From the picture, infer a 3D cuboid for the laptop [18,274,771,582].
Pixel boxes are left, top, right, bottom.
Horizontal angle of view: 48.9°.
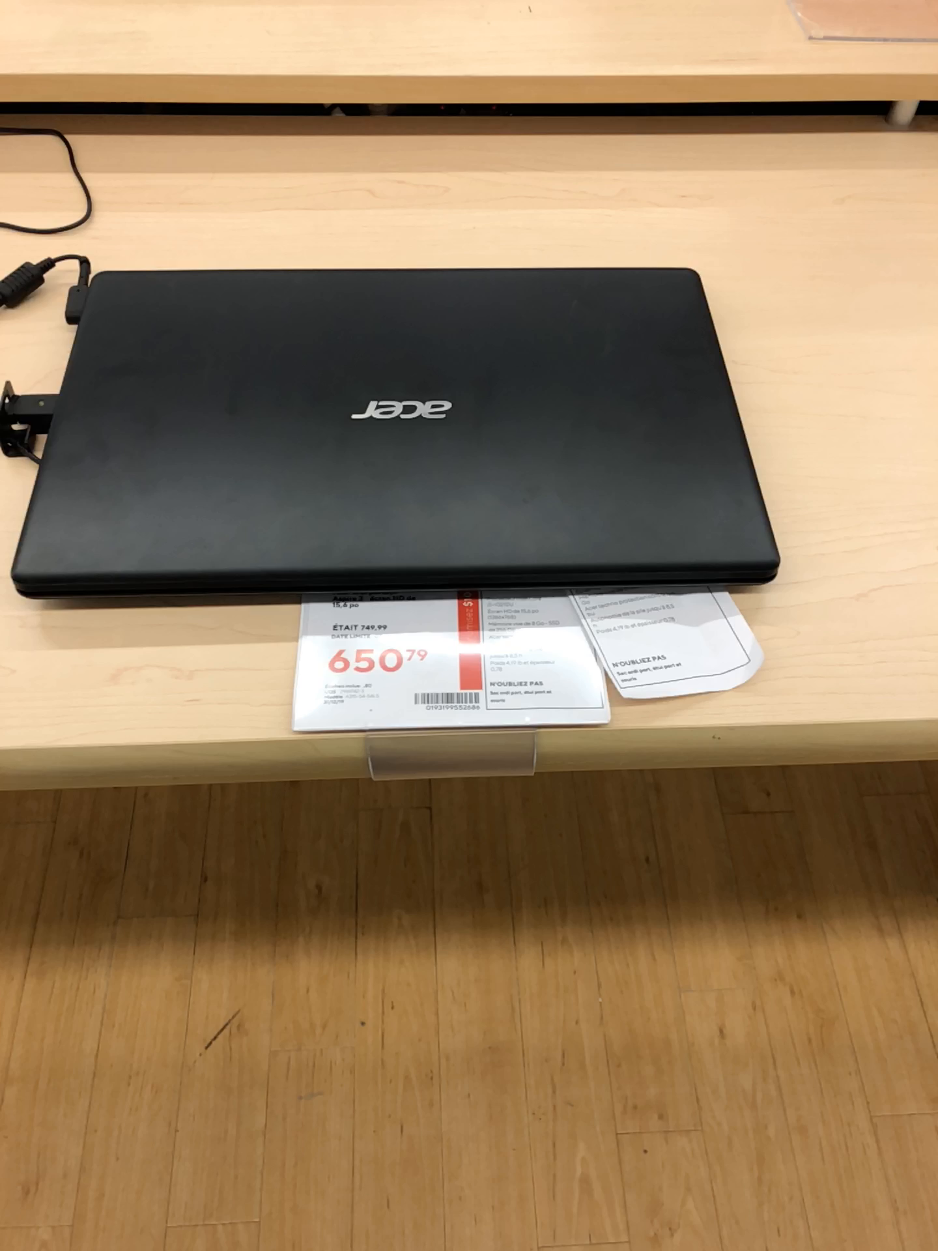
[{"bbox_3d":[-0.034,-0.114,0.537,0.346,0.003,0.213,-2,55,-5],"label":"laptop"}]
